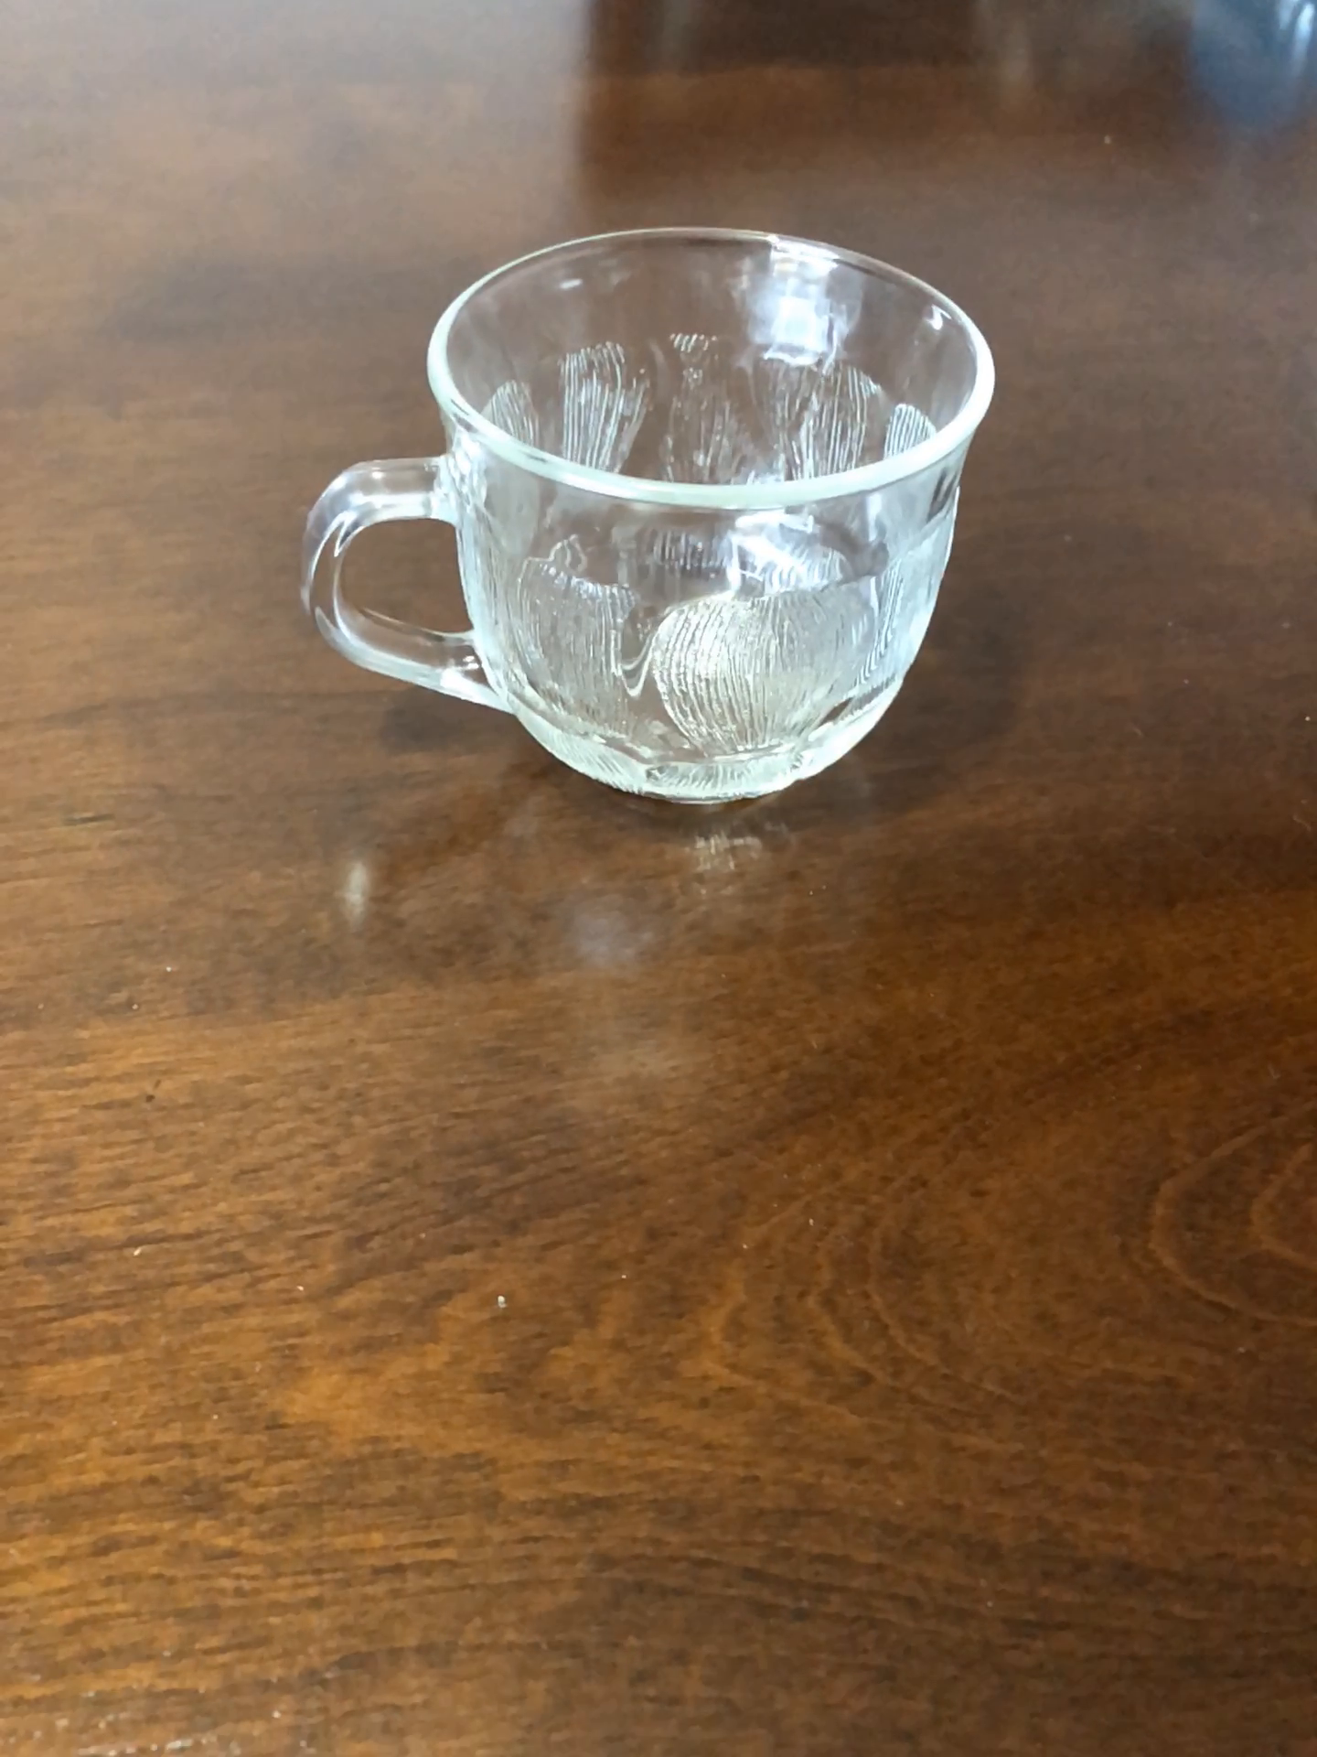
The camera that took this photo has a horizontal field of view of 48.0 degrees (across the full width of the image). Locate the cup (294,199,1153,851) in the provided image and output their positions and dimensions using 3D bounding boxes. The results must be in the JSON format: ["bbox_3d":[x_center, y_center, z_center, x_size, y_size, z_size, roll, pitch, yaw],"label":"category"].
[{"bbox_3d":[0.002,-0.055,0.214,0.100,0.050,0.080,-6,47,-8],"label":"cup"}]
